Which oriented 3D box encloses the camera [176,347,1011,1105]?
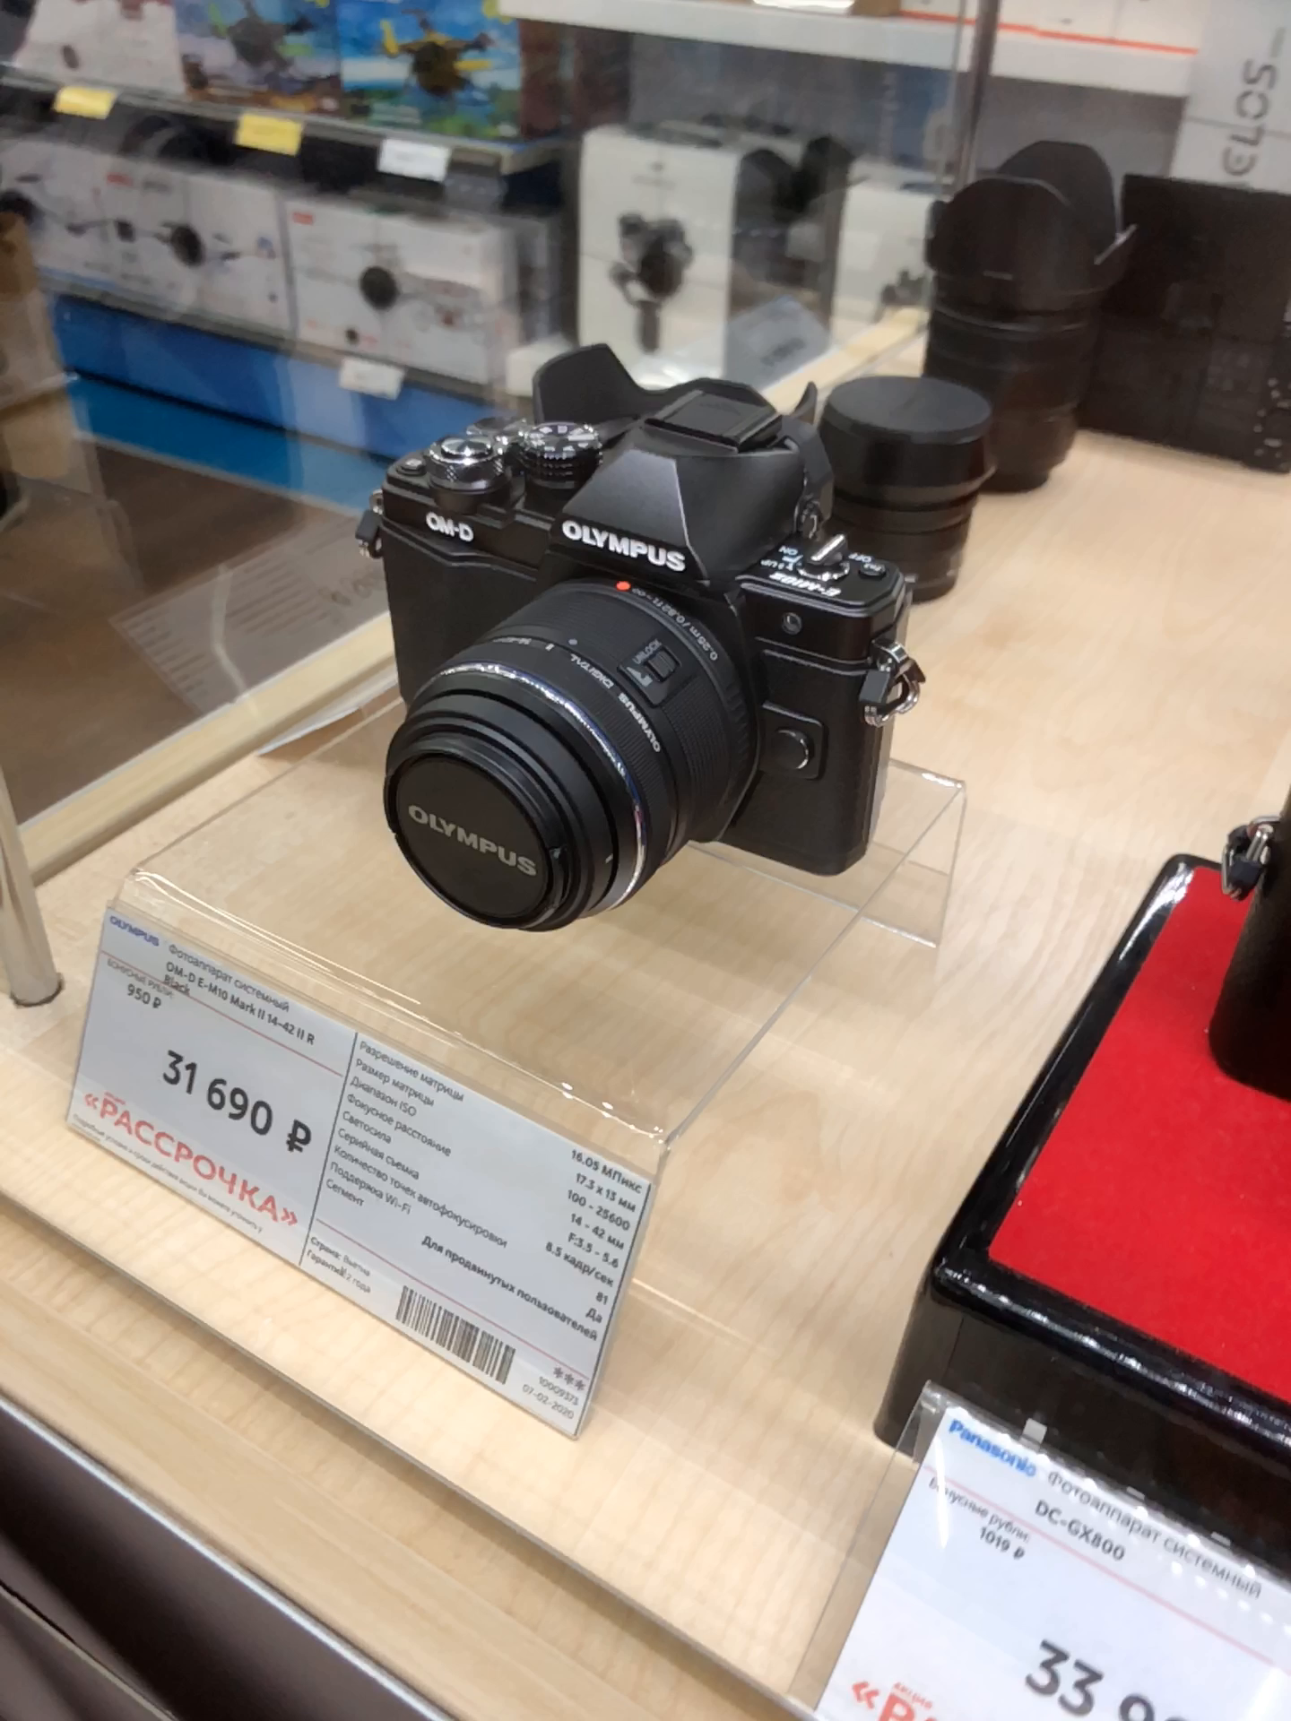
[{"bbox_3d":[-0.008,-0.036,0.291,0.118,0.088,0.101,22,41,25],"label":"camera"}]

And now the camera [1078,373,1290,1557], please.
[{"bbox_3d":[0.141,0.007,0.201,0.118,0.109,0.072,22,41,25],"label":"camera"}]
